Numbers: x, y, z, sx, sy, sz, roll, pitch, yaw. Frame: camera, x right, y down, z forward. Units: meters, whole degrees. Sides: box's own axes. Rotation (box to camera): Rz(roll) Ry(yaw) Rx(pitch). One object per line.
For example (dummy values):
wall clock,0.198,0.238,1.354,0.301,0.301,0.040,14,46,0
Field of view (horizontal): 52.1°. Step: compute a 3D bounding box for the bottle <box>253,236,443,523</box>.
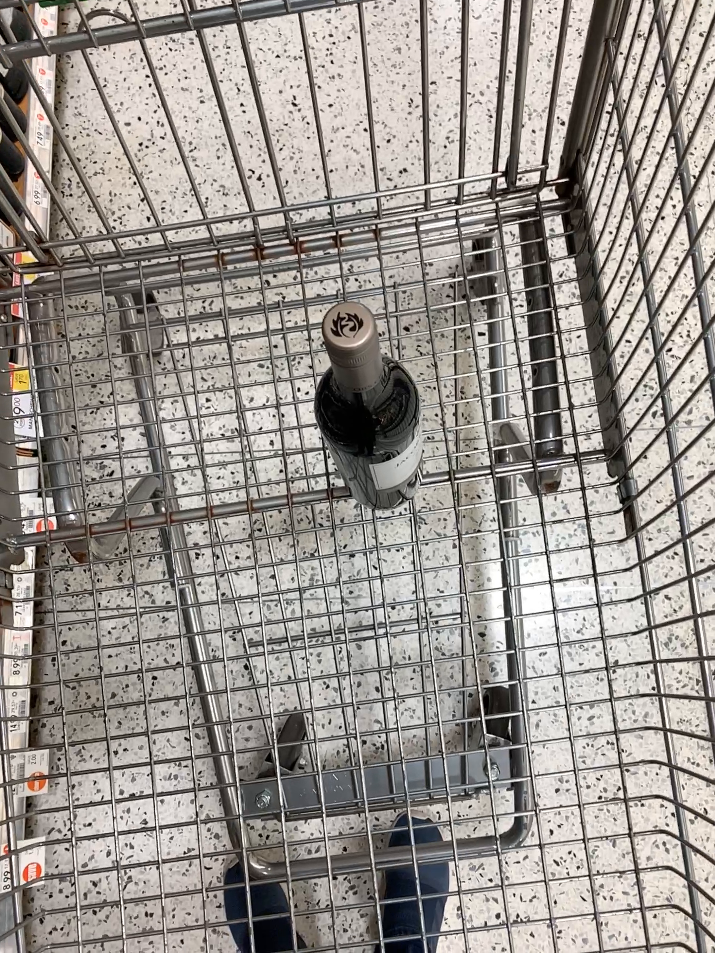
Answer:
bottle,0.004,-0.045,0.545,0.090,0.319,0.090,-1,76,3
